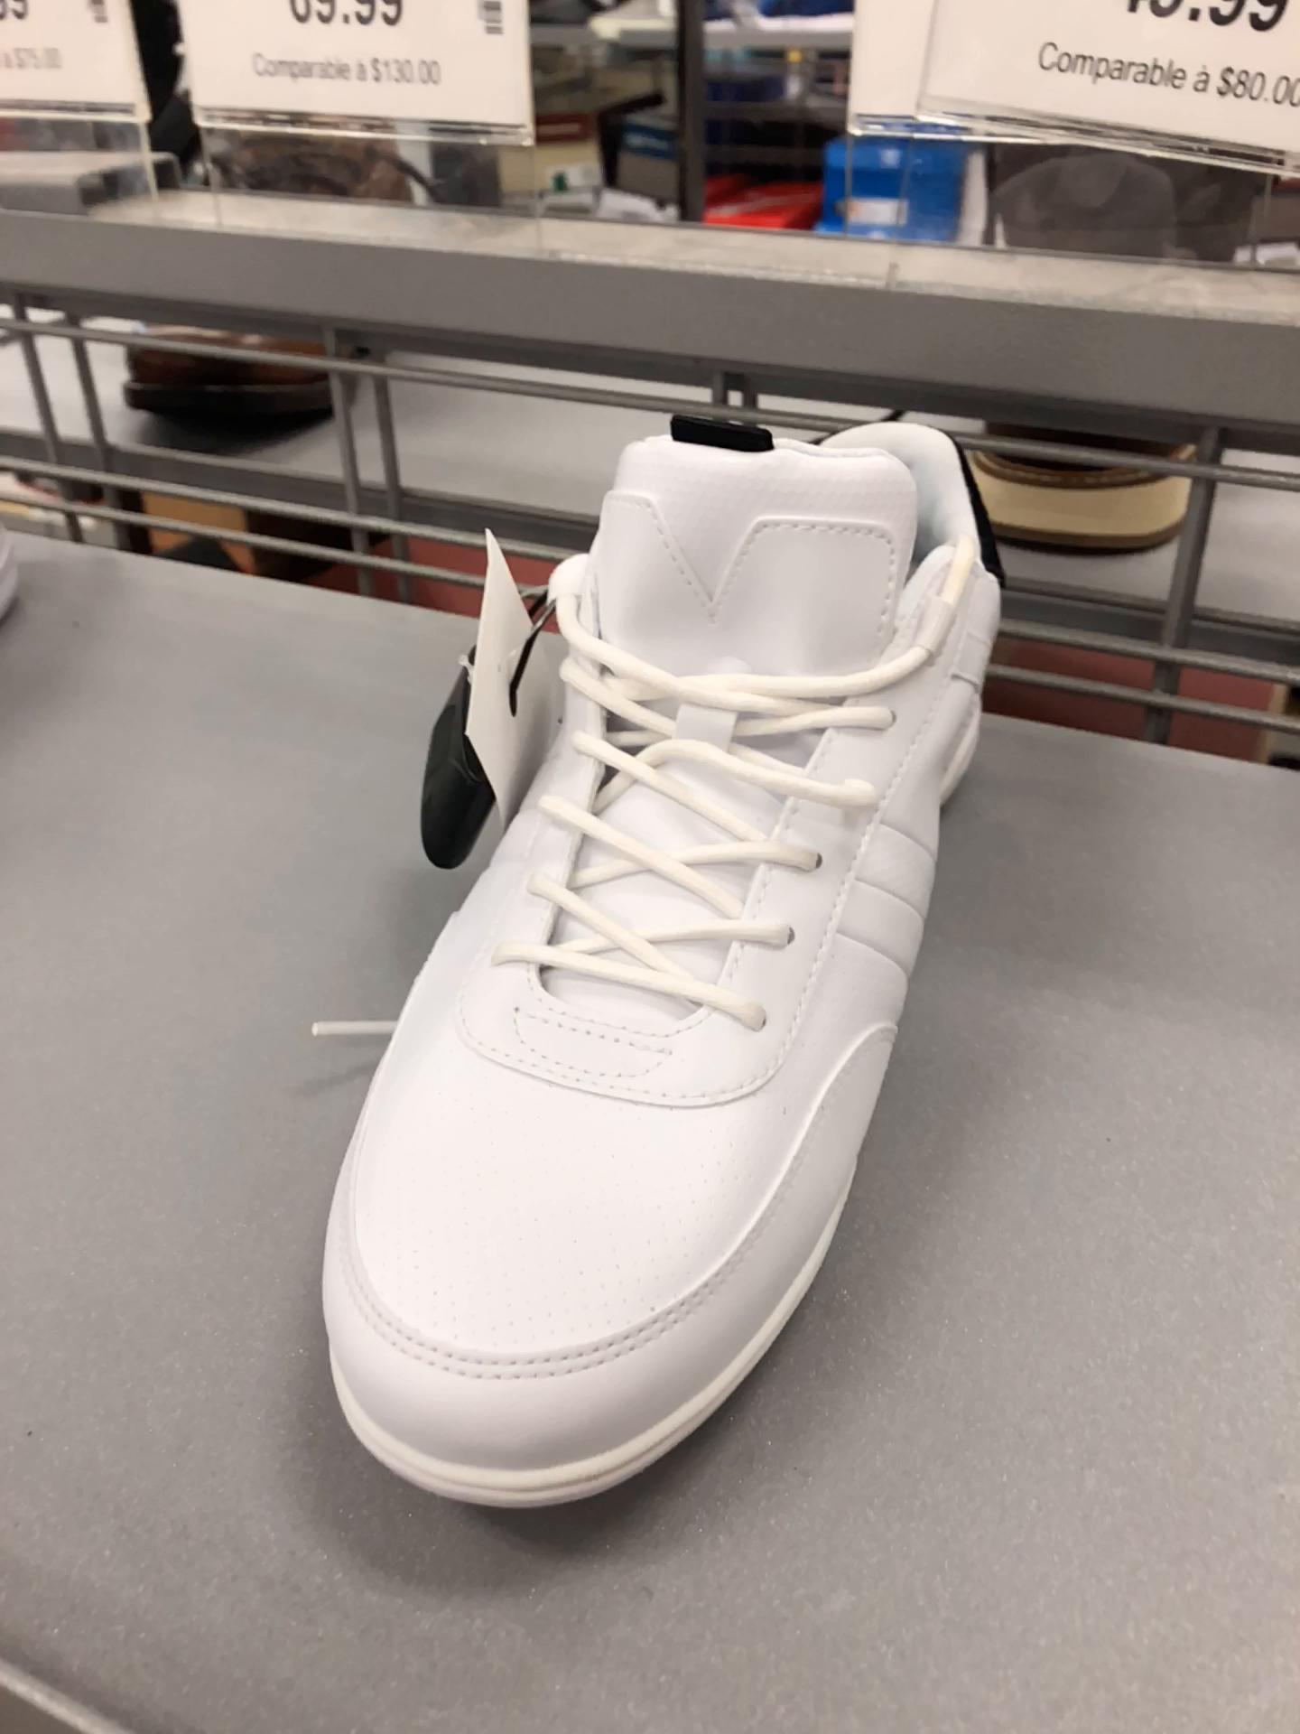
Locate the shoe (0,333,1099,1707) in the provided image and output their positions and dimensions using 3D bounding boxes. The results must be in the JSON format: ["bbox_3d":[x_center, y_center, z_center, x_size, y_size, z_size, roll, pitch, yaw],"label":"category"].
[{"bbox_3d":[0.013,-0.011,0.295,0.110,0.119,0.272,11,35,17],"label":"shoe"}]
